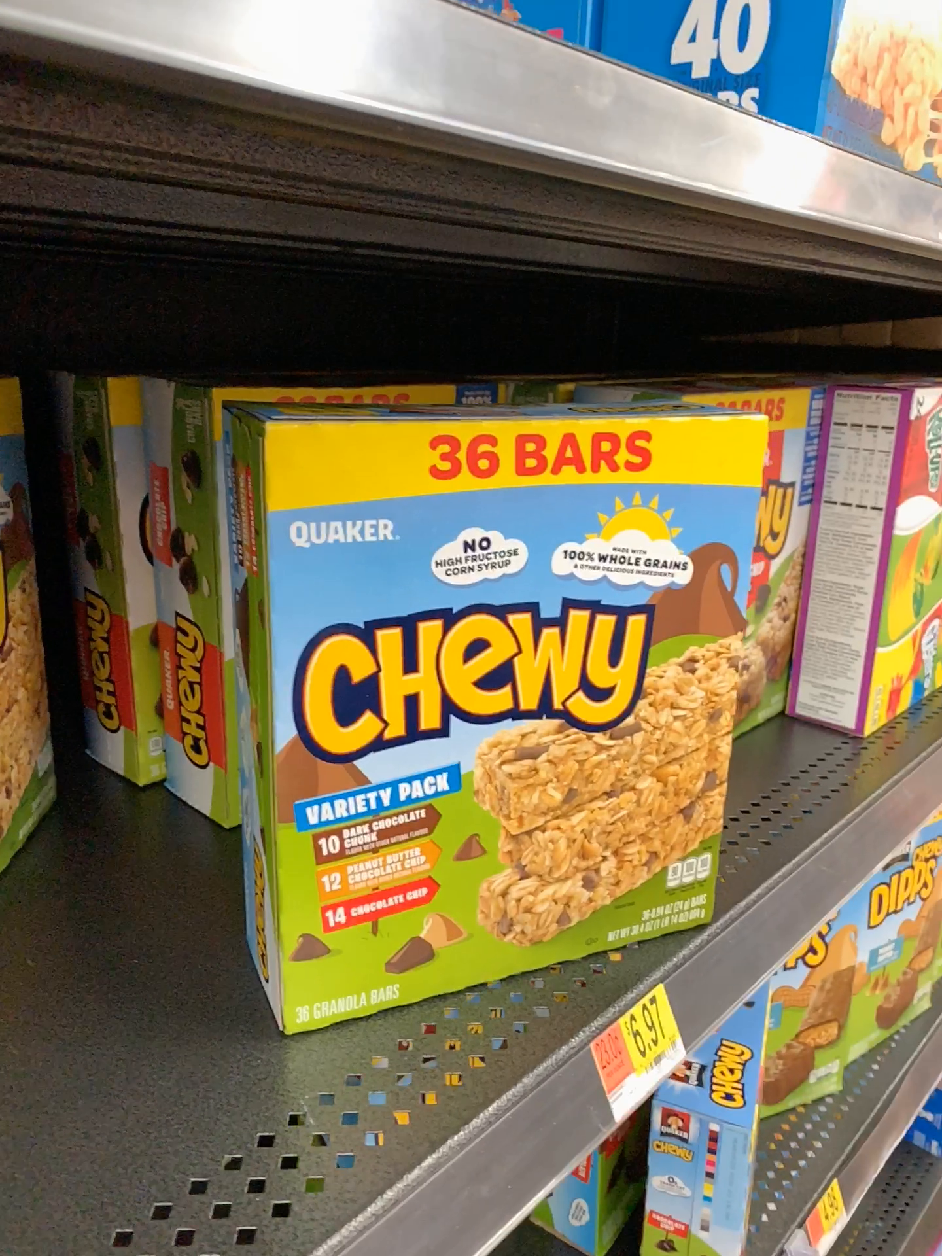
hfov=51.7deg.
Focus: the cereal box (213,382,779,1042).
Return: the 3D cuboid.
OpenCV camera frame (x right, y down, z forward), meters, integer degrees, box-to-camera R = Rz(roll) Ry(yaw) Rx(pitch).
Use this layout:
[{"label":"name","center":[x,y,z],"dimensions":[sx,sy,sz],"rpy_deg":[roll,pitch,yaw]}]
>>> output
[{"label":"cereal box","center":[0.008,0.022,0.393],"dimensions":[0.200,0.229,0.070],"rpy_deg":[-5,17,-24]}]
